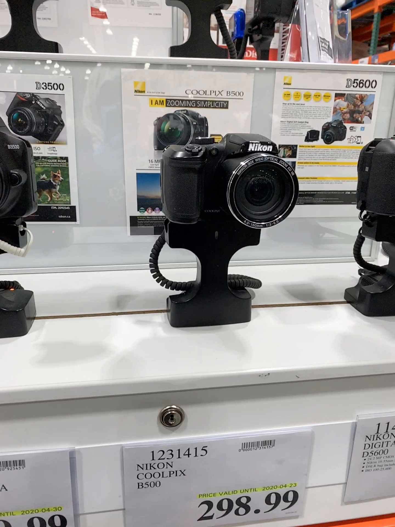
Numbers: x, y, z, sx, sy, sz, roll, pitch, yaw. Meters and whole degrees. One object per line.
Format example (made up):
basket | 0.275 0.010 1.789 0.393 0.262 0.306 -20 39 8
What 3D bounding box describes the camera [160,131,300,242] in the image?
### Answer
camera | 0.025 -0.075 0.377 0.110 0.089 0.070 -3 19 -10
